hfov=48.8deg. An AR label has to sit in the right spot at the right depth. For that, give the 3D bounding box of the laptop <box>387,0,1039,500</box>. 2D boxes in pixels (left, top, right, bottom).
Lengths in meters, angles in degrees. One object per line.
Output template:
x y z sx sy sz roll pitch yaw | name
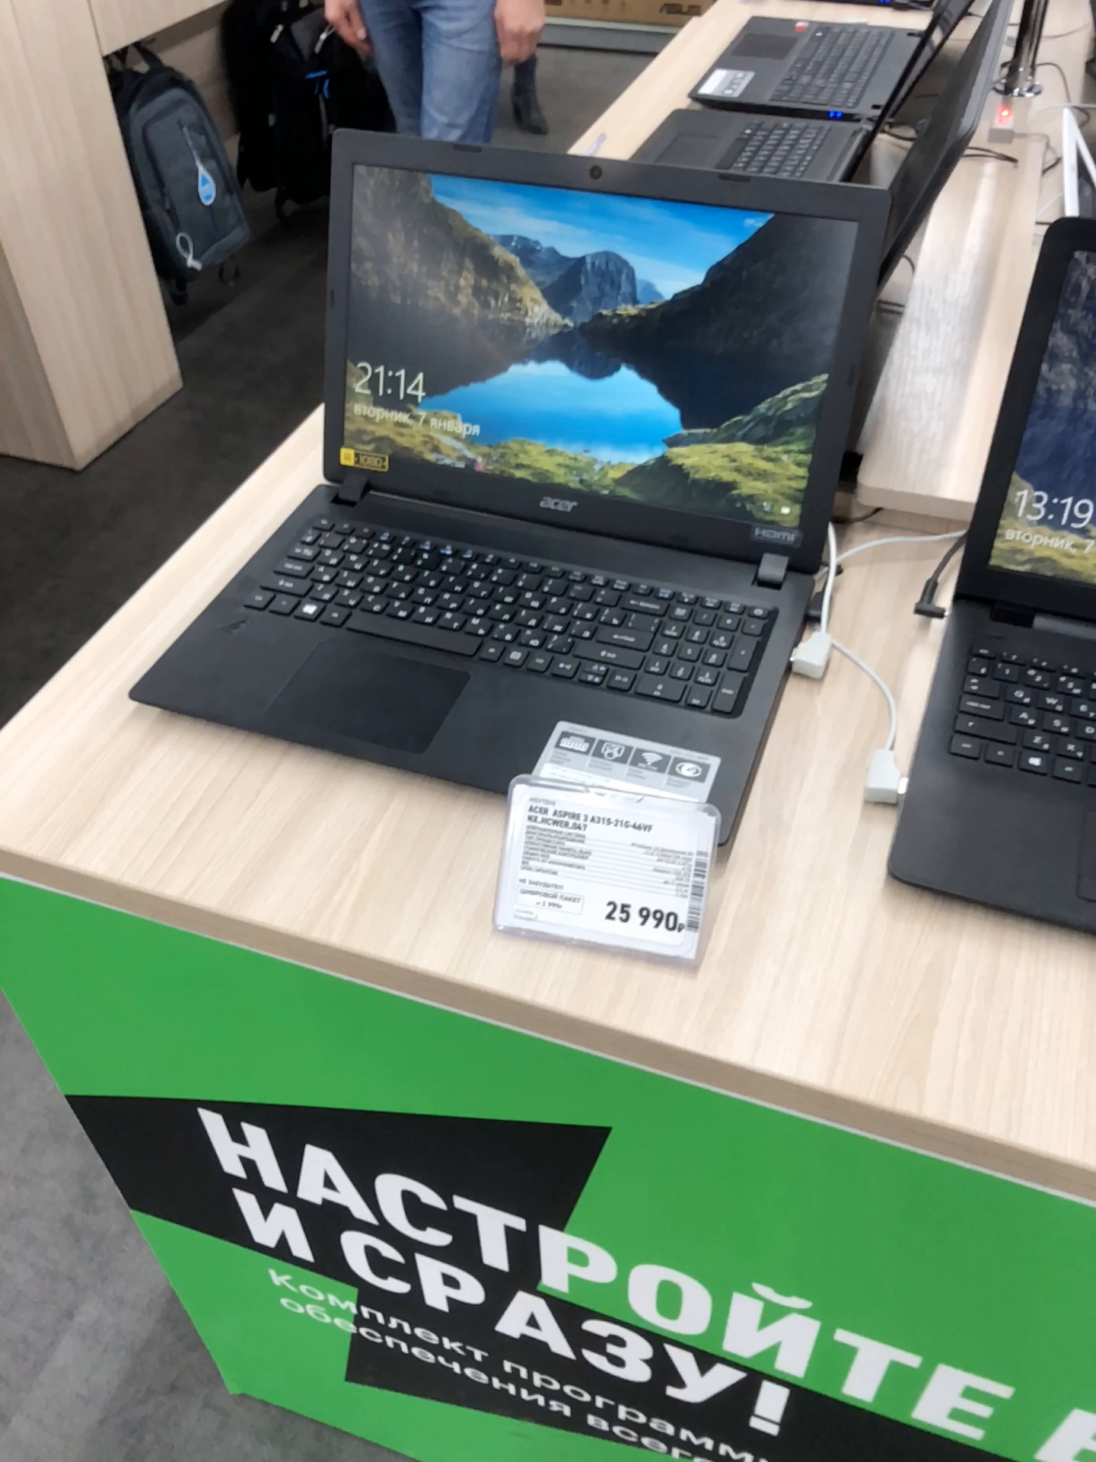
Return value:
0.144 -0.428 0.975 0.395 0.250 0.403 12 45 16 | laptop

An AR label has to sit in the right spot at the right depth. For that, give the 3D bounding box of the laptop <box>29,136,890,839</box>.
-0.024 -0.177 0.747 0.374 0.219 0.349 13 46 15 | laptop

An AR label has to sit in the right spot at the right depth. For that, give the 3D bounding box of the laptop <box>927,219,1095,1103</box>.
0.409 -0.063 0.606 0.359 0.220 0.296 13 47 16 | laptop
